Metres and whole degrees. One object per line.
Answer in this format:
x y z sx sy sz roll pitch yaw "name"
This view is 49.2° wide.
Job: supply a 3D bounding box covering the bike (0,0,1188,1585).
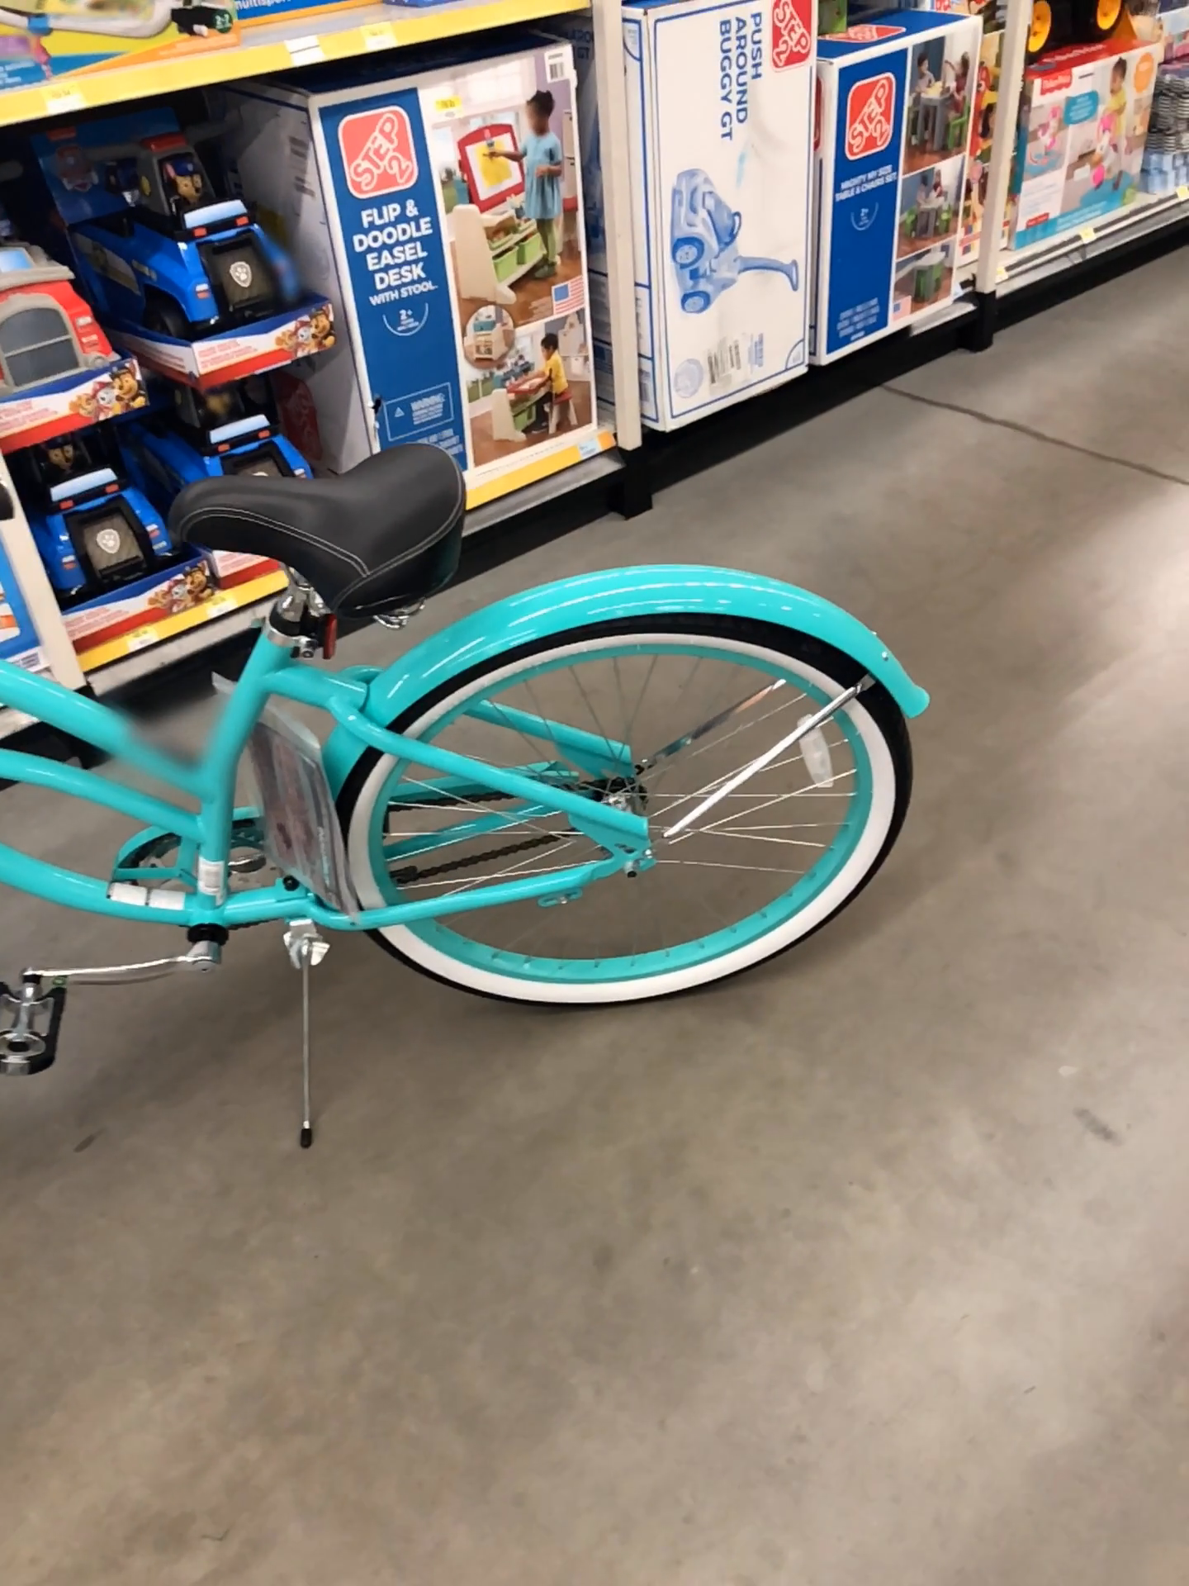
-0.452 0.038 1.121 1.491 1.143 0.762 -16 39 -8 "bike"
